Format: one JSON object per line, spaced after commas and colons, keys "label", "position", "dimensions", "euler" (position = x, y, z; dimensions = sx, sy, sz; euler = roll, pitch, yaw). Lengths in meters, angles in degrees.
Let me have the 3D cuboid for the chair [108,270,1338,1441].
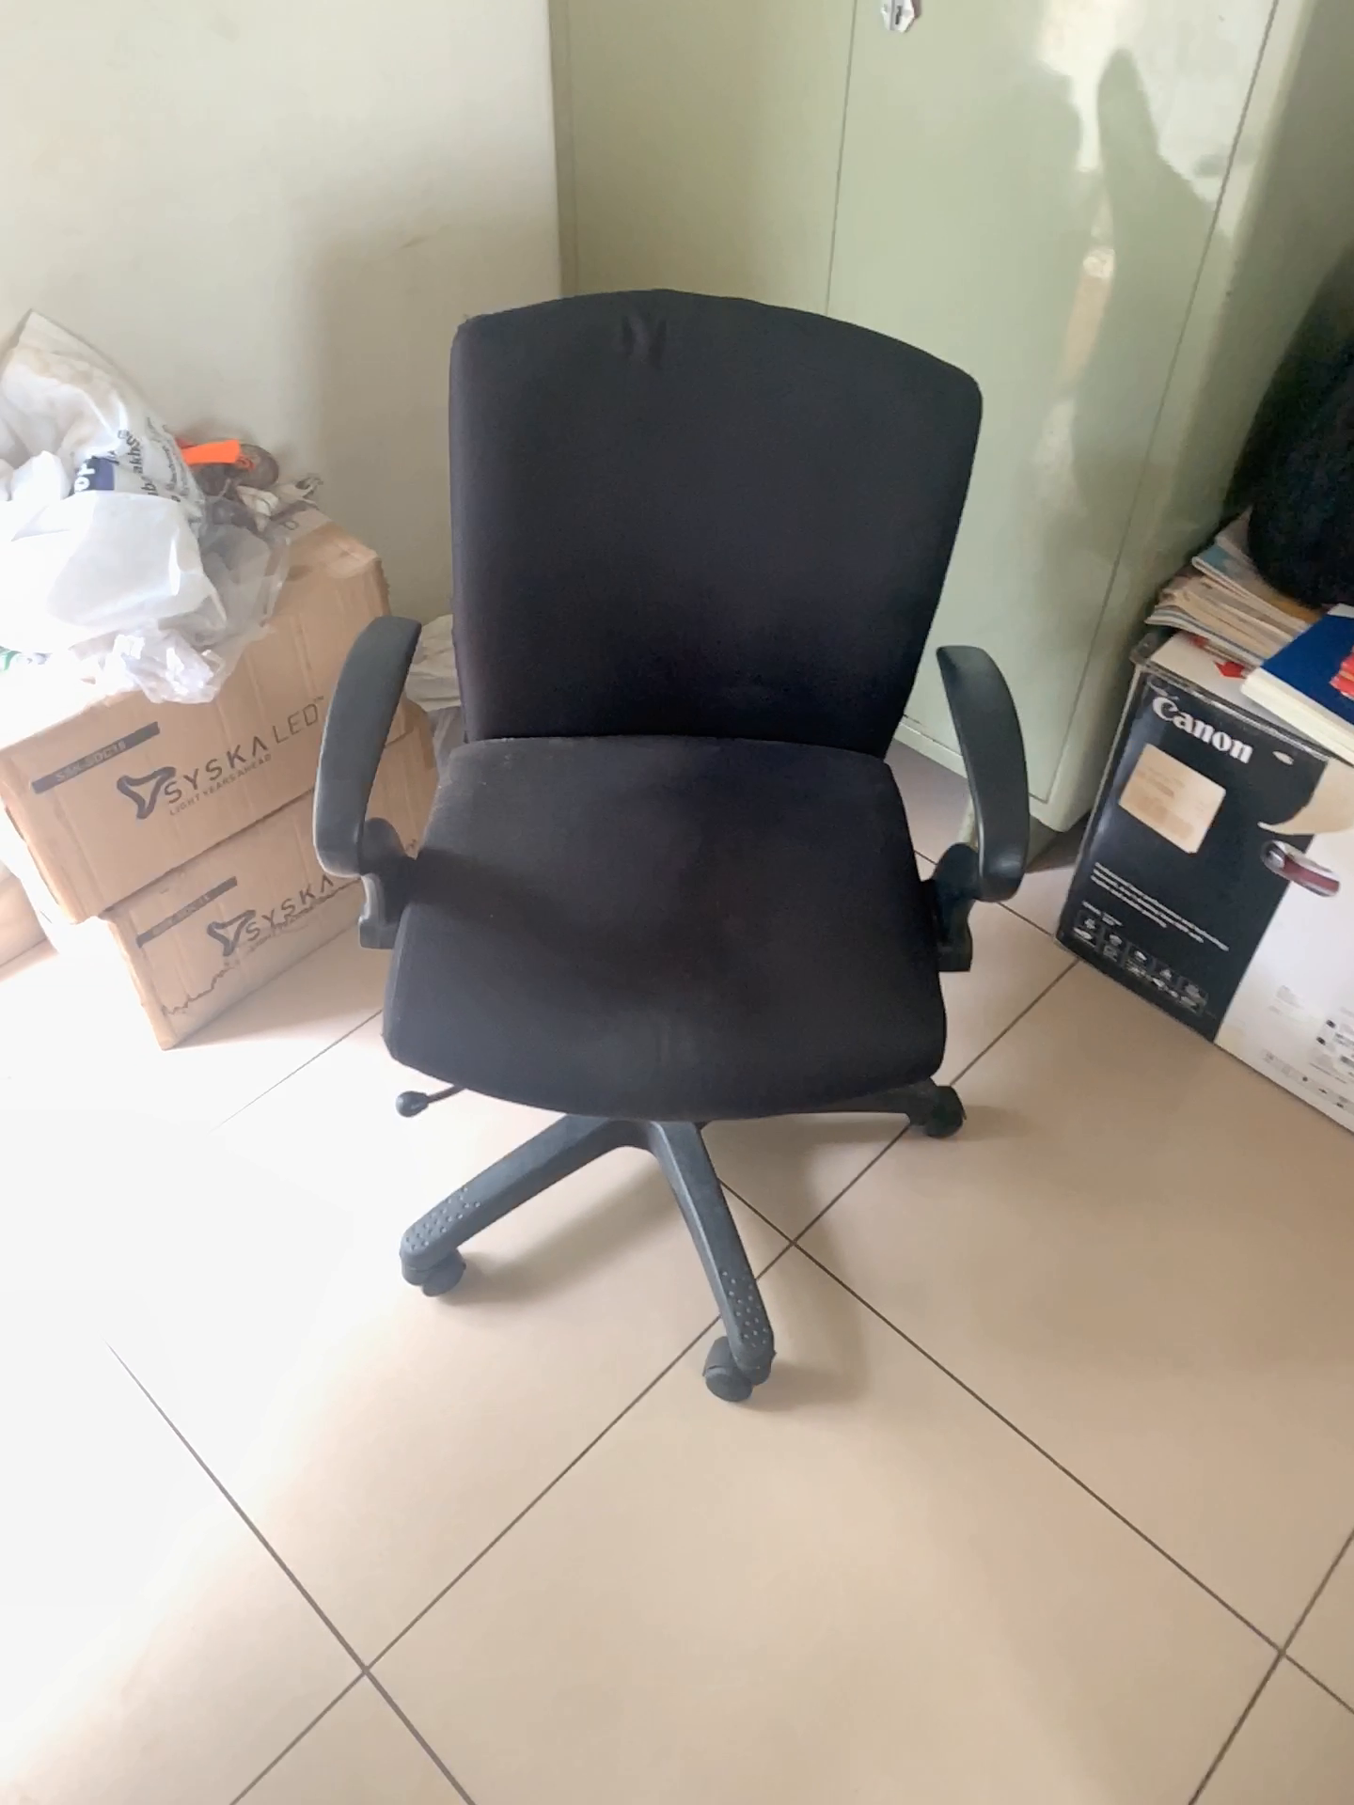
{"label": "chair", "position": [0.015, -0.005, 1.359], "dimensions": [0.700, 0.927, 0.703], "euler": [0, 47, -2]}
